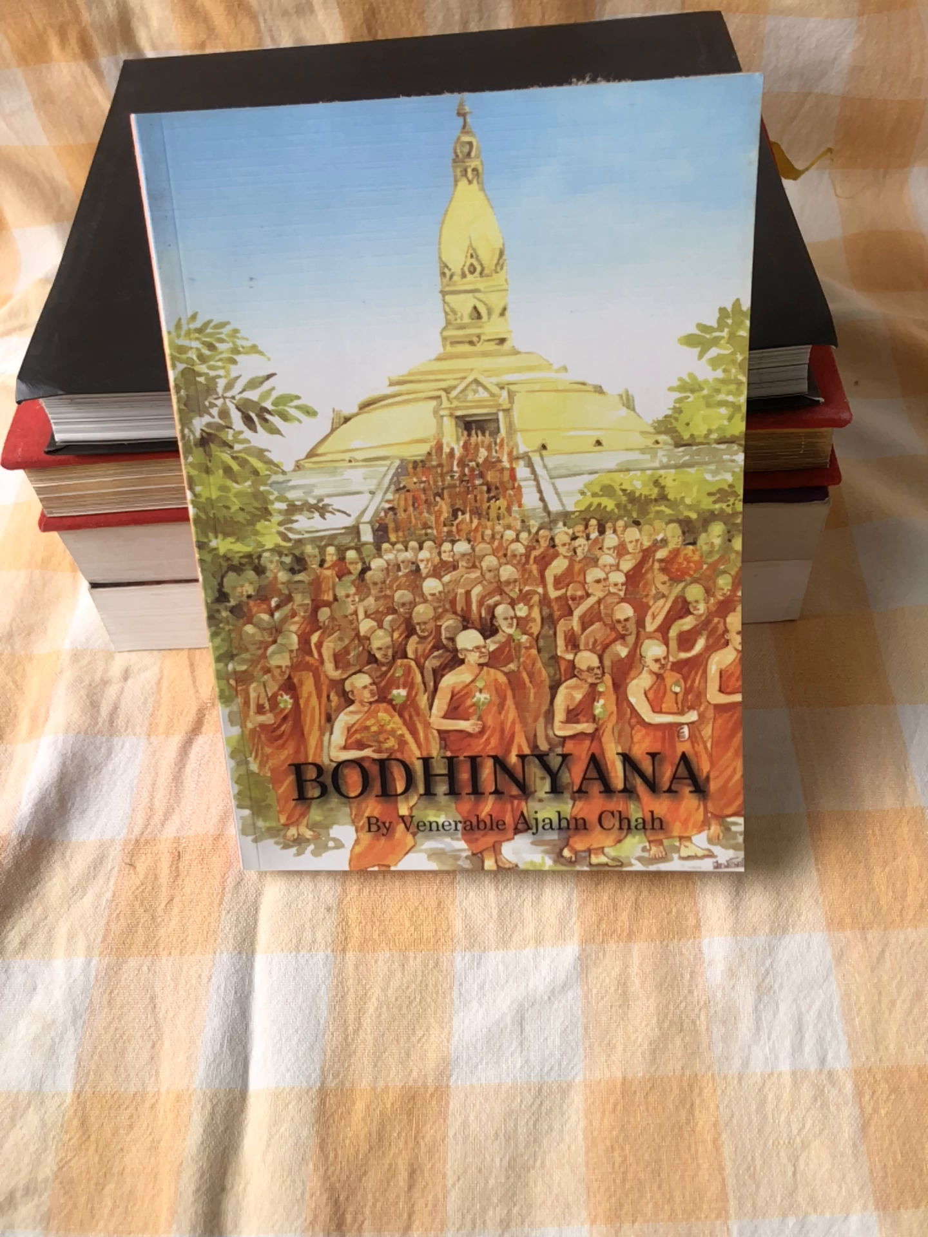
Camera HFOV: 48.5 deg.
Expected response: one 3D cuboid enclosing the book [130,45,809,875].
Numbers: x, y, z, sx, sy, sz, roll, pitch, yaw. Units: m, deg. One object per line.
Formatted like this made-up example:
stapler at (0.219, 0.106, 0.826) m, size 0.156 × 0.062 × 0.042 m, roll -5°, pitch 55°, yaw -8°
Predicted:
book at (0.004, -0.031, 0.270) m, size 0.150 × 0.200 × 0.030 m, roll 0°, pitch 17°, yaw 5°
